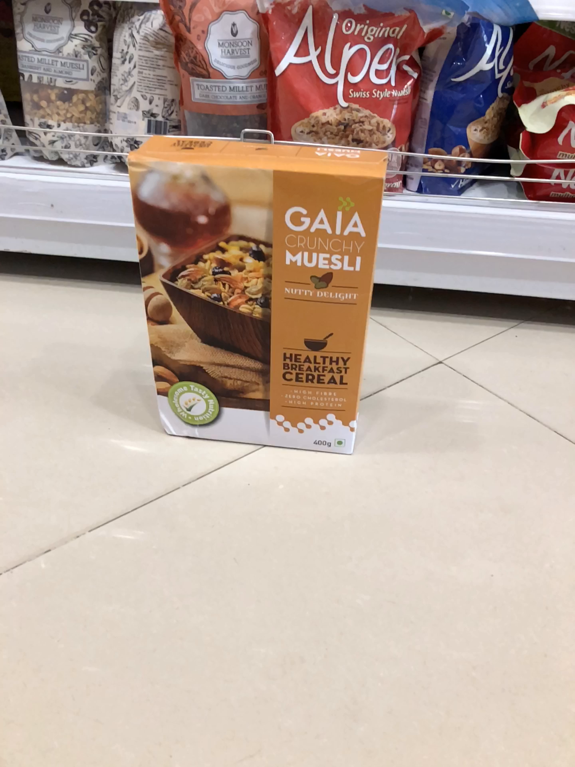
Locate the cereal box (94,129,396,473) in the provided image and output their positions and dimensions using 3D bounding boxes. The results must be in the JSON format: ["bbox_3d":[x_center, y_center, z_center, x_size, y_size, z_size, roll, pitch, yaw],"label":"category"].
[{"bbox_3d":[-0.027,-0.053,0.490,0.190,0.248,0.060,6,37,6],"label":"cereal box"}]
